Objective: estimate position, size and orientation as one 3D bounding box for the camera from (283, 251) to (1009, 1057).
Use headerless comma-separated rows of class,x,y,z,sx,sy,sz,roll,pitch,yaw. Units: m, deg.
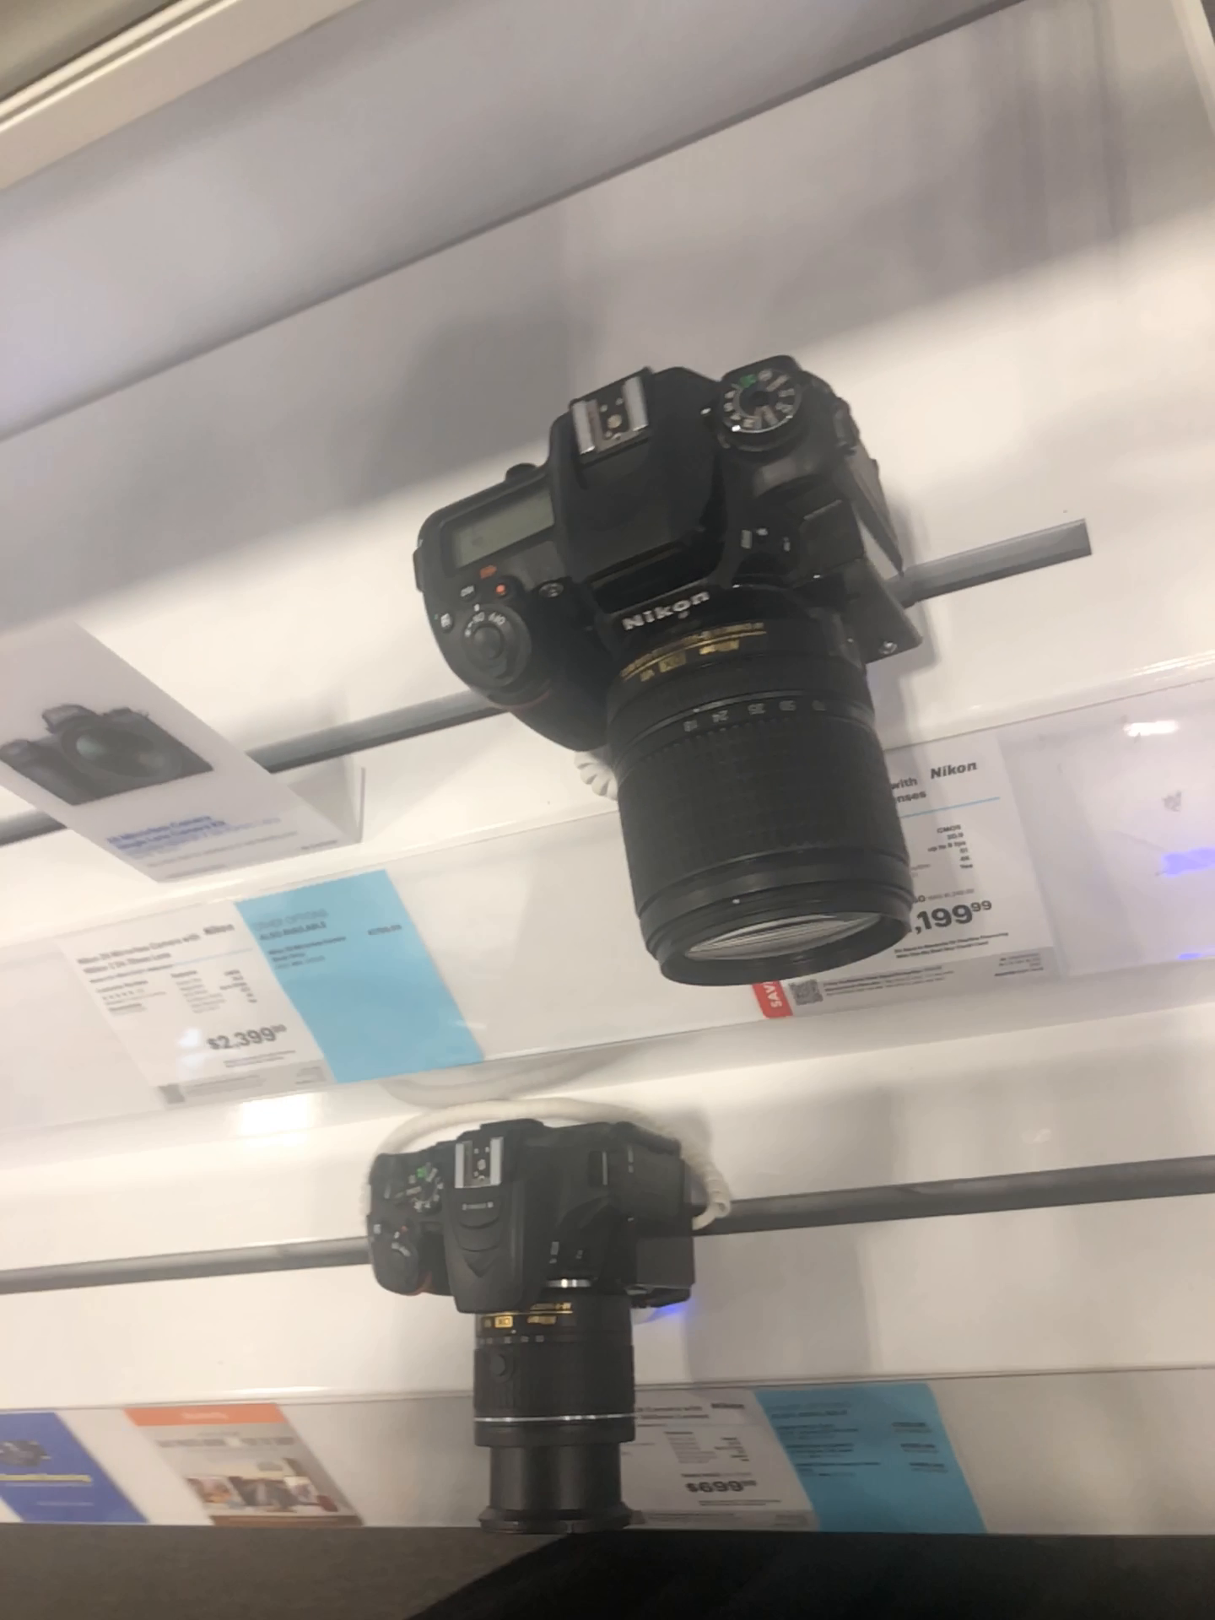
camera,0.007,-0.033,0.391,0.160,0.110,0.160,-18,64,22
